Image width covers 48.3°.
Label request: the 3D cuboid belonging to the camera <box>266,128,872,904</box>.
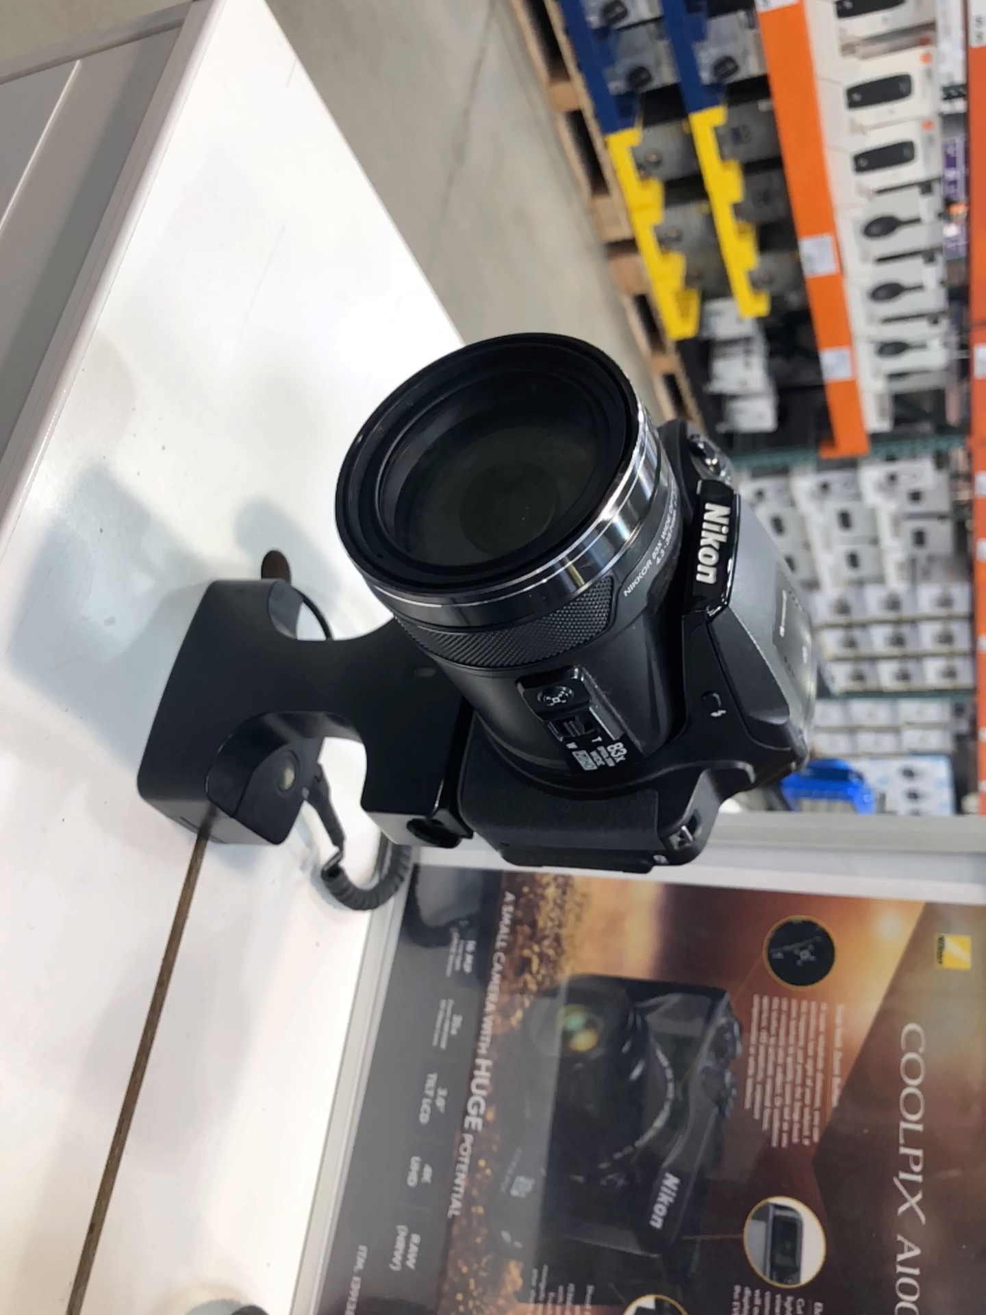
[{"bbox_3d":[0.041,-0.026,0.309,0.151,0.109,0.140,54,41,-53],"label":"camera"}]
